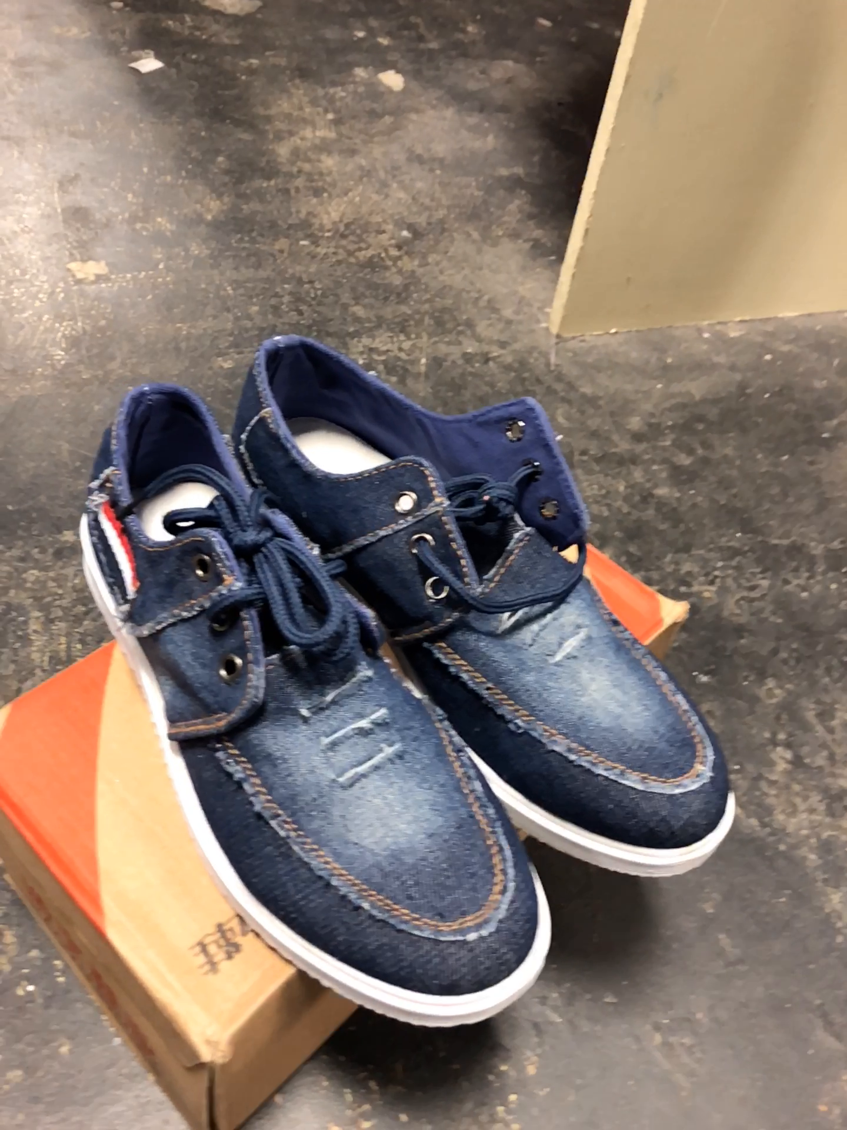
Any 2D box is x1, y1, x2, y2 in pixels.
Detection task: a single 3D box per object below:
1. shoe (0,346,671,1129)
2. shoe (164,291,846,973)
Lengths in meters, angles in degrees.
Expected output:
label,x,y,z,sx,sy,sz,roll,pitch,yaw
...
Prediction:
label,x,y,z,sx,sy,sz,roll,pitch,yaw
shoe,-0.050,0.038,0.313,0.090,0.079,0.251,-24,56,-29
shoe,0.015,0.005,0.370,0.100,0.079,0.271,-28,58,-32
